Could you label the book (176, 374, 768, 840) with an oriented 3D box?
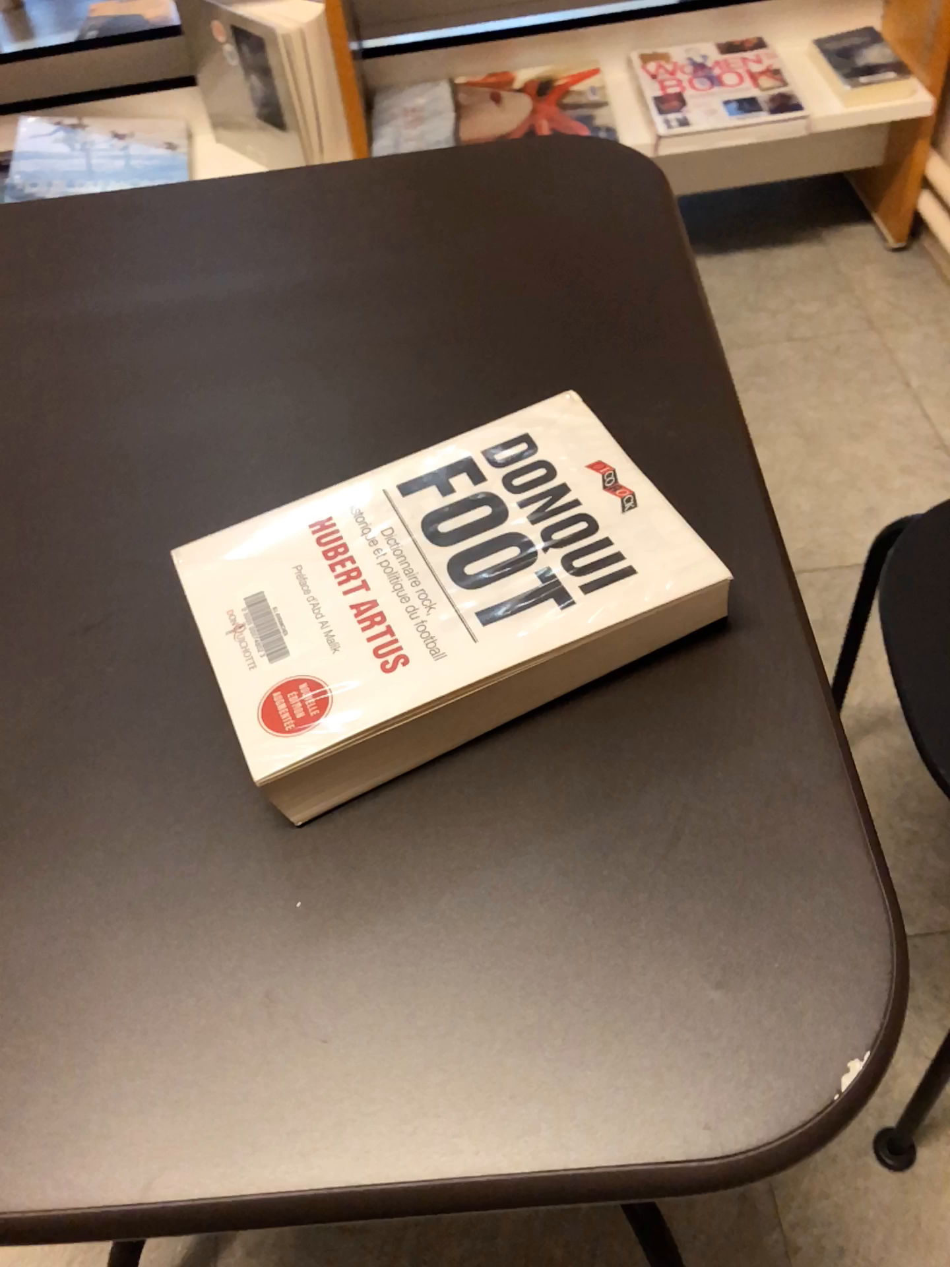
[{"bbox_3d":[-0.006,-0.023,0.453,0.207,0.042,0.148,-23,50,-11],"label":"book"}]
